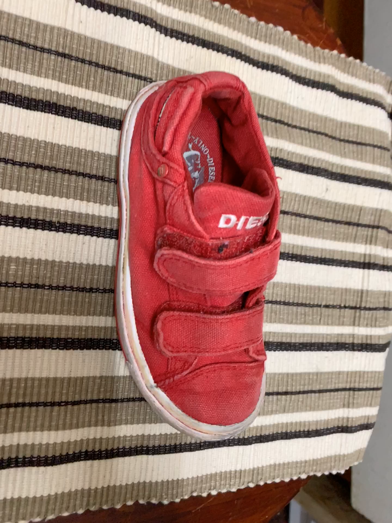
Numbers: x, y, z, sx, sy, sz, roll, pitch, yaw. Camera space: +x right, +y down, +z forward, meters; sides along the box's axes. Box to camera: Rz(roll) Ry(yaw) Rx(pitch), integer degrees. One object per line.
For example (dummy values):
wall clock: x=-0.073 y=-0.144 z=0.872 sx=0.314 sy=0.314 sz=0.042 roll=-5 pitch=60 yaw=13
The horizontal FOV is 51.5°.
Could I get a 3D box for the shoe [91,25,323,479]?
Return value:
shoe: x=0.002 y=-0.005 z=0.200 sx=0.080 sy=0.070 sz=0.170 roll=-5 pitch=93 yaw=-24
